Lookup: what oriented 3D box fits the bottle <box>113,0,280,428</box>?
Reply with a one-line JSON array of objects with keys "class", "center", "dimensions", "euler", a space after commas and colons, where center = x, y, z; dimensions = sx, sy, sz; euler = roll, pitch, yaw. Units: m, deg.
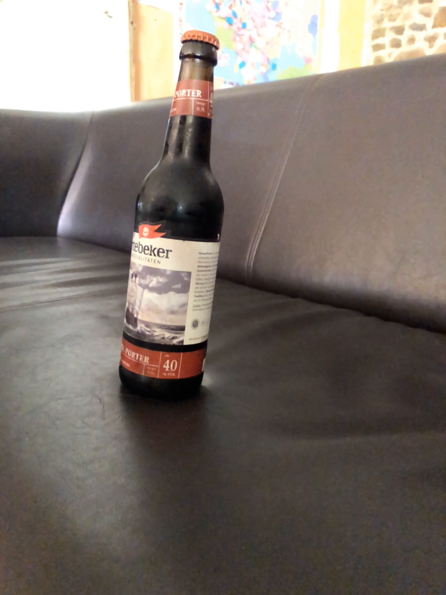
[{"class": "bottle", "center": [-0.028, -0.053, 0.374], "dimensions": [0.080, 0.279, 0.080], "euler": [5, 11, -1]}]
